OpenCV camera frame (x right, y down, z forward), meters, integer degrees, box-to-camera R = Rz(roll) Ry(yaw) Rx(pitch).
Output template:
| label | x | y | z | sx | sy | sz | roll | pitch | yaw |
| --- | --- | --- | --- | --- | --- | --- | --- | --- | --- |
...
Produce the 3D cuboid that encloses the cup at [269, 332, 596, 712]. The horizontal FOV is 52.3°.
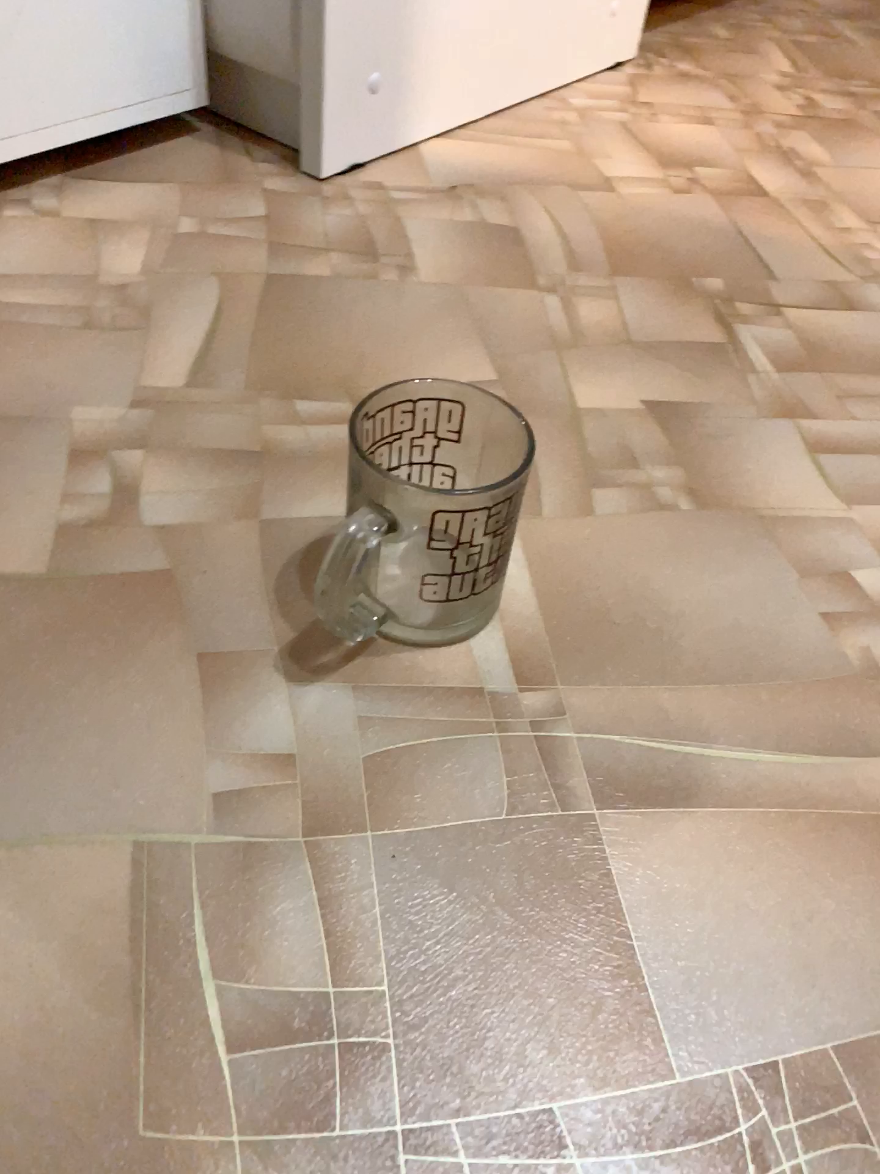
| label | x | y | z | sx | sy | sz | roll | pitch | yaw |
| --- | --- | --- | --- | --- | --- | --- | --- | --- | --- |
| cup | -0.005 | -0.029 | 0.373 | 0.082 | 0.097 | 0.098 | 32 | 51 | 21 |
